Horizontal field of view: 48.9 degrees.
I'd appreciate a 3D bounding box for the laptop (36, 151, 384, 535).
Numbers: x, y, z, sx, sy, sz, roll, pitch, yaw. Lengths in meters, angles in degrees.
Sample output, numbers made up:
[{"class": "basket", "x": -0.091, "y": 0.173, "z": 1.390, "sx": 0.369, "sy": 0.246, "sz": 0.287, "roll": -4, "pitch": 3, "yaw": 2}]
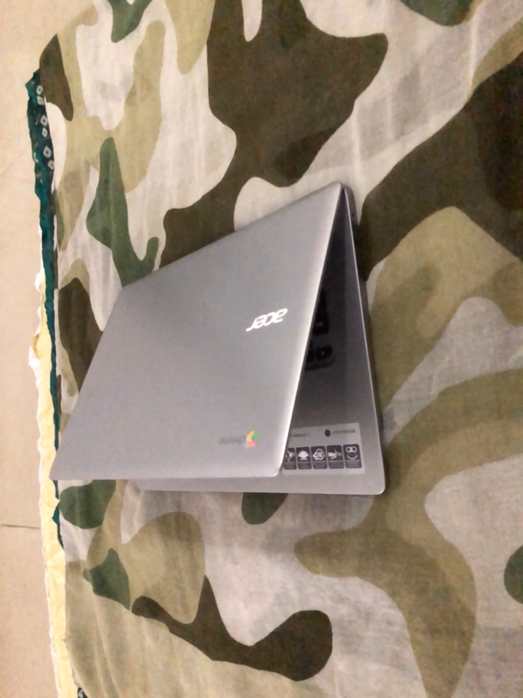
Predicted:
[{"class": "laptop", "x": -0.067, "y": 0.013, "z": 0.496, "sx": 0.312, "sy": 0.124, "sz": 0.232, "roll": -14, "pitch": 74, "yaw": 47}]
